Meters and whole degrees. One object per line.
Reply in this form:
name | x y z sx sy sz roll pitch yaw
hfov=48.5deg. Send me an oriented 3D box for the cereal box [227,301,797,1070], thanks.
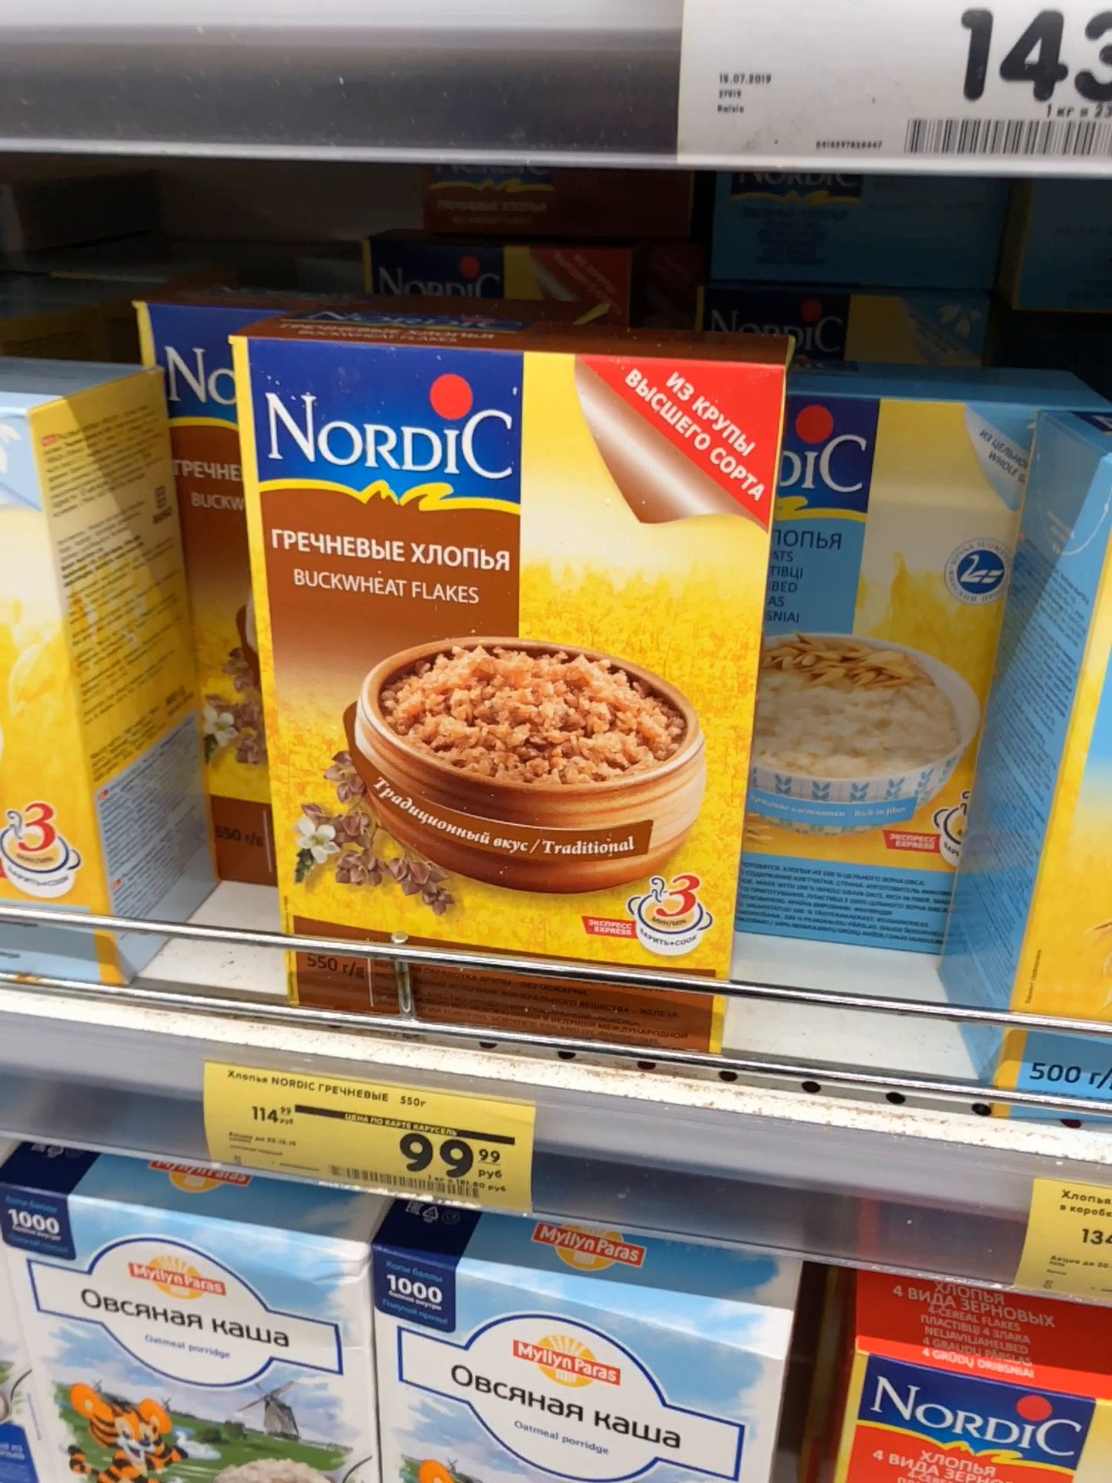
cereal box | -0.009 -0.017 0.373 0.140 0.209 0.070 6 25 10
